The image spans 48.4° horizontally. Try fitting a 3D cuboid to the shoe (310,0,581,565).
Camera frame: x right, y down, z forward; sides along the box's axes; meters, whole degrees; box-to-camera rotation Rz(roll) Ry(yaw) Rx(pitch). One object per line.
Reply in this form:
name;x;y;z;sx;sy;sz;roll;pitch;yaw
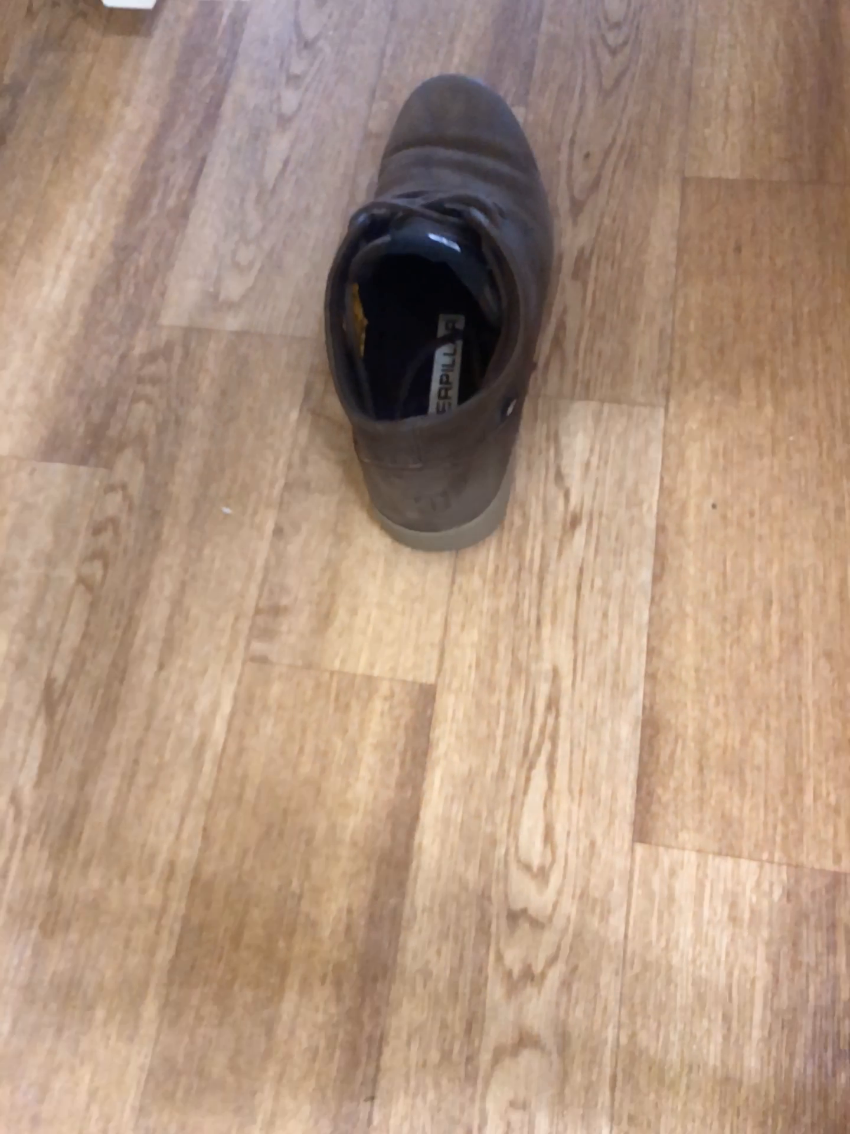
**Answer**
shoe;0.019;-0.148;0.454;0.100;0.110;0.270;2;68;6
